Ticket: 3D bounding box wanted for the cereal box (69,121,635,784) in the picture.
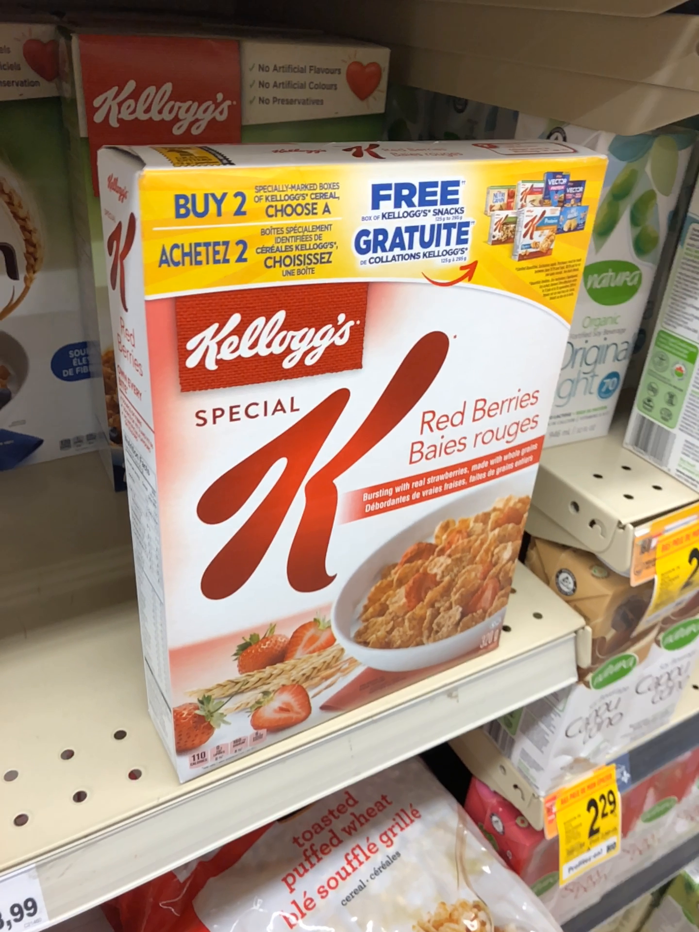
[{"bbox_3d":[0.001,-0.005,0.323,0.190,0.248,0.050,-14,37,-28],"label":"cereal box"}]
